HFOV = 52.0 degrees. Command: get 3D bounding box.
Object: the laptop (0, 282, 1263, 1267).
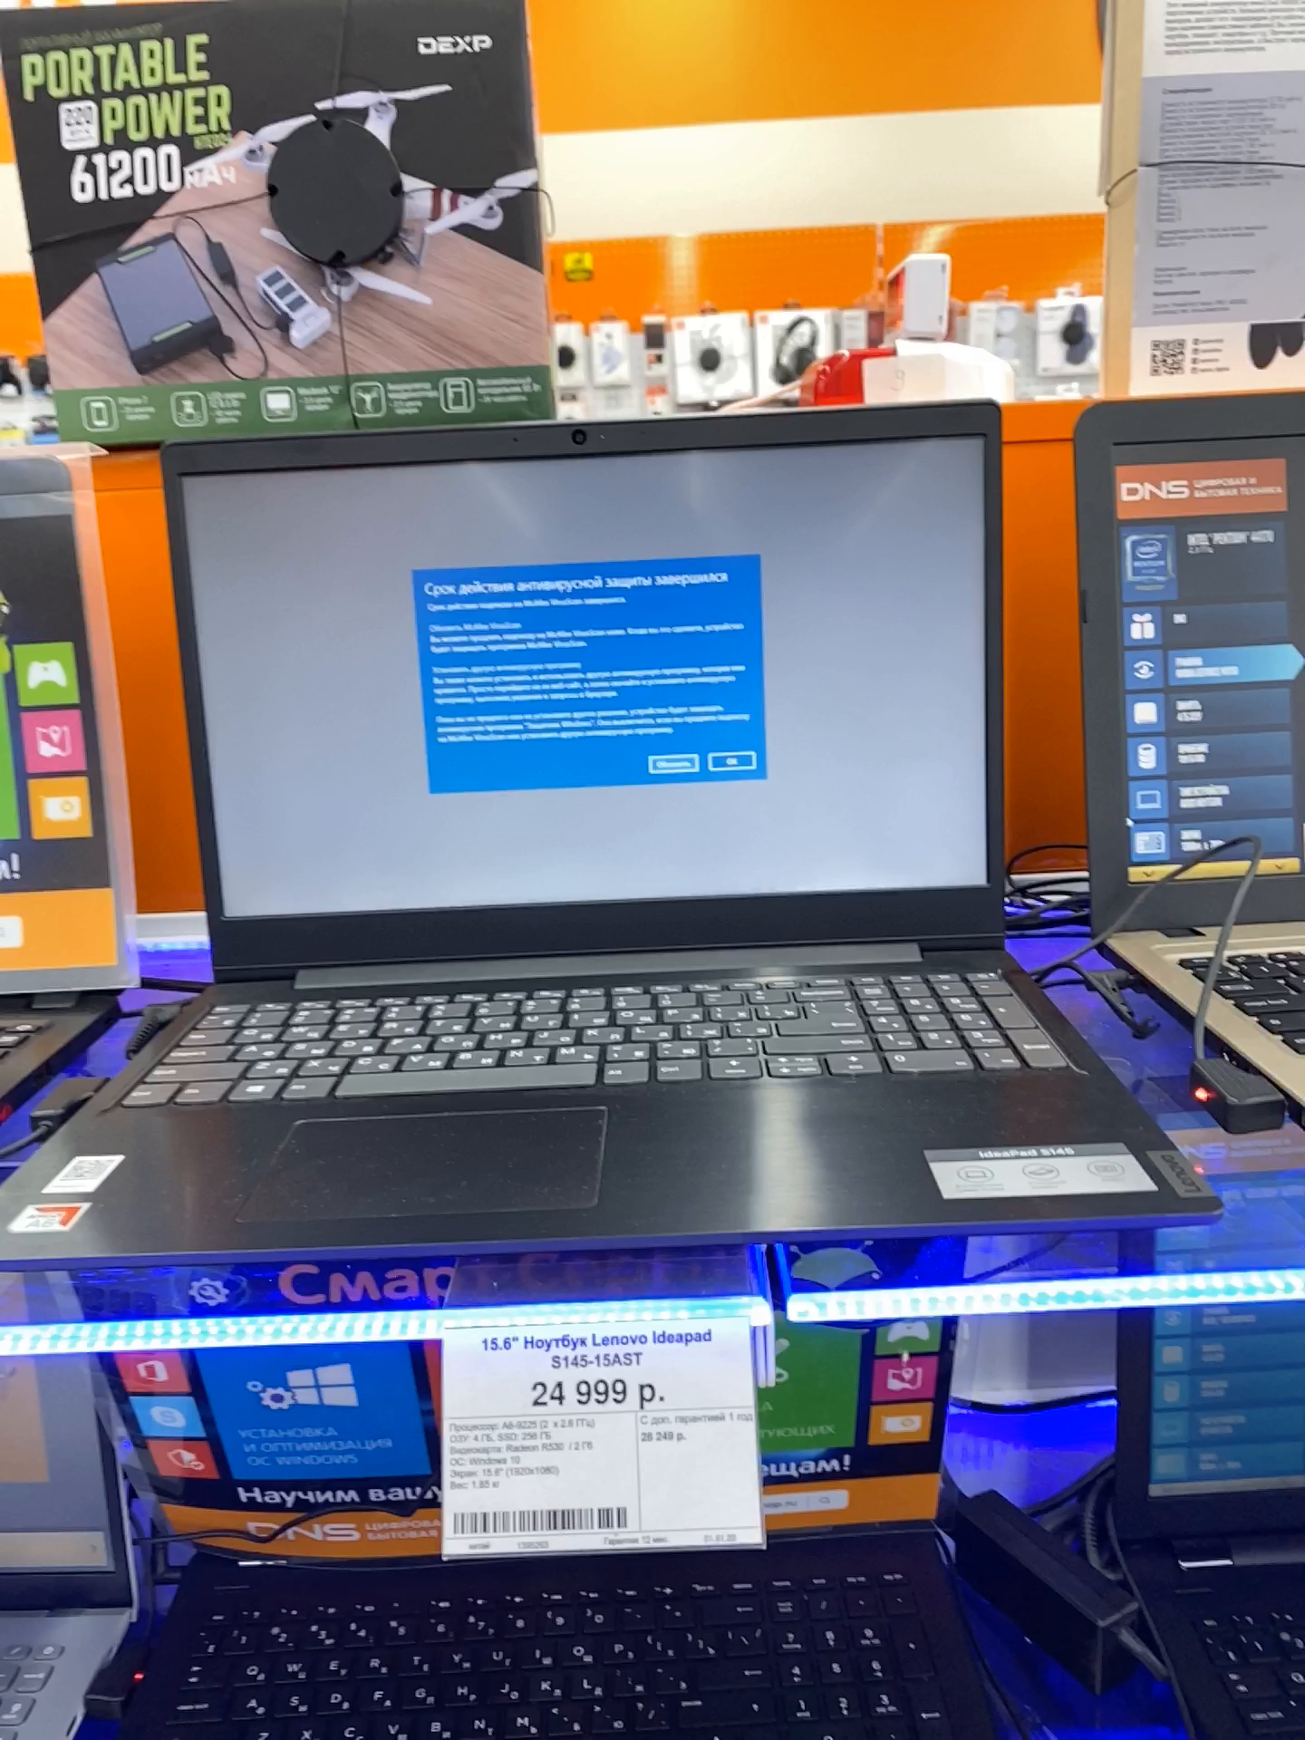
[{"bbox_3d":[-0.027,-0.045,0.483,0.361,0.240,0.273,-3,13,2],"label":"laptop"}]
